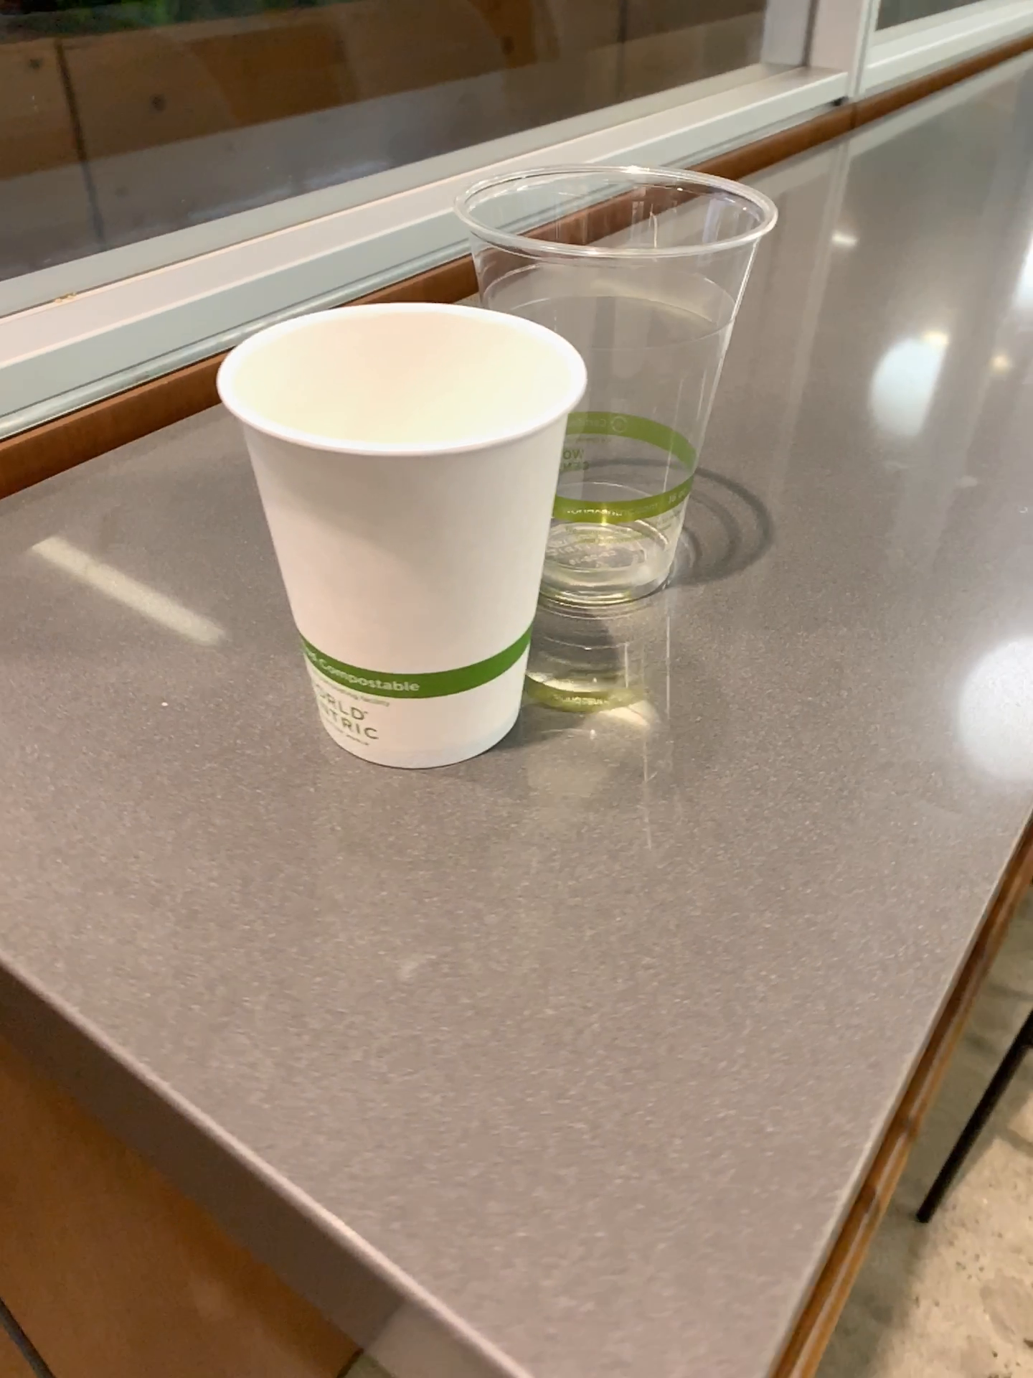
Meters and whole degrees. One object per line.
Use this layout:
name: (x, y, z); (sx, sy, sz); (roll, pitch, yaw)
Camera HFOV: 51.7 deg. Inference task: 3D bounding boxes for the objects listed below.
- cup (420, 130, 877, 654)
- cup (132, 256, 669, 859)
cup: (0.035, -0.097, 0.337); (0.080, 0.119, 0.100); (-29, 47, -32)
cup: (-0.028, -0.040, 0.285); (0.090, 0.109, 0.090); (0, 38, 0)
